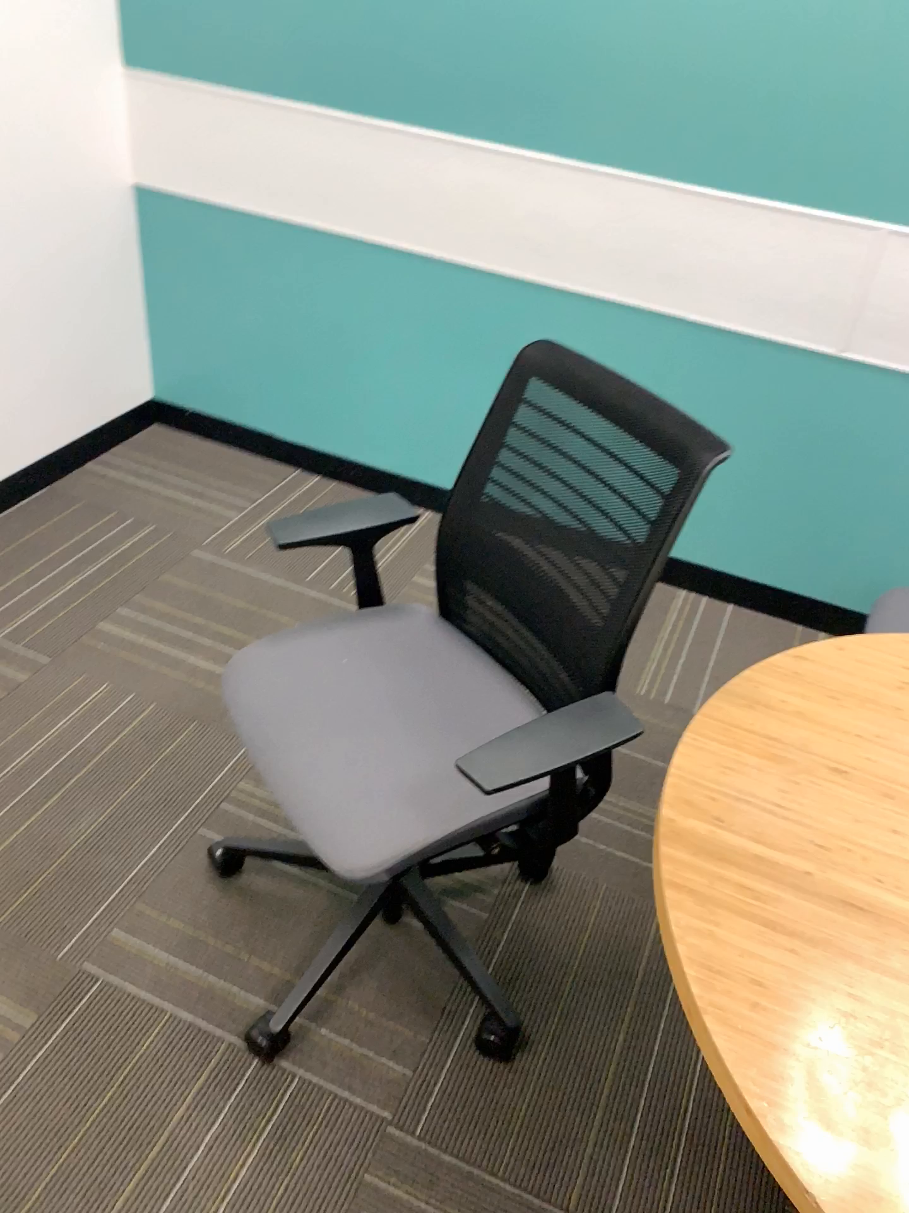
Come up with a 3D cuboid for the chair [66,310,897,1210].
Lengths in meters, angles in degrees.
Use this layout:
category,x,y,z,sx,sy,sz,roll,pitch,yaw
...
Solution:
category,x,y,z,sx,sy,sz,roll,pitch,yaw
chair,-0.014,0.174,1.527,0.842,0.984,0.733,-20,44,-33
